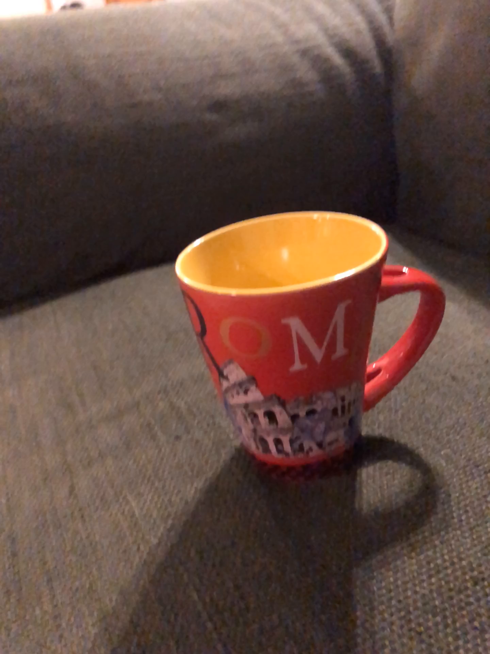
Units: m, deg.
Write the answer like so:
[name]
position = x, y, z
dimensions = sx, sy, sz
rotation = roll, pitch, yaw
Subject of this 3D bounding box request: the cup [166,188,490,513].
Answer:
[cup]
position = 0.036, 0.004, 0.262
dimensions = 0.120, 0.099, 0.090
rotation = -13, 29, -8
